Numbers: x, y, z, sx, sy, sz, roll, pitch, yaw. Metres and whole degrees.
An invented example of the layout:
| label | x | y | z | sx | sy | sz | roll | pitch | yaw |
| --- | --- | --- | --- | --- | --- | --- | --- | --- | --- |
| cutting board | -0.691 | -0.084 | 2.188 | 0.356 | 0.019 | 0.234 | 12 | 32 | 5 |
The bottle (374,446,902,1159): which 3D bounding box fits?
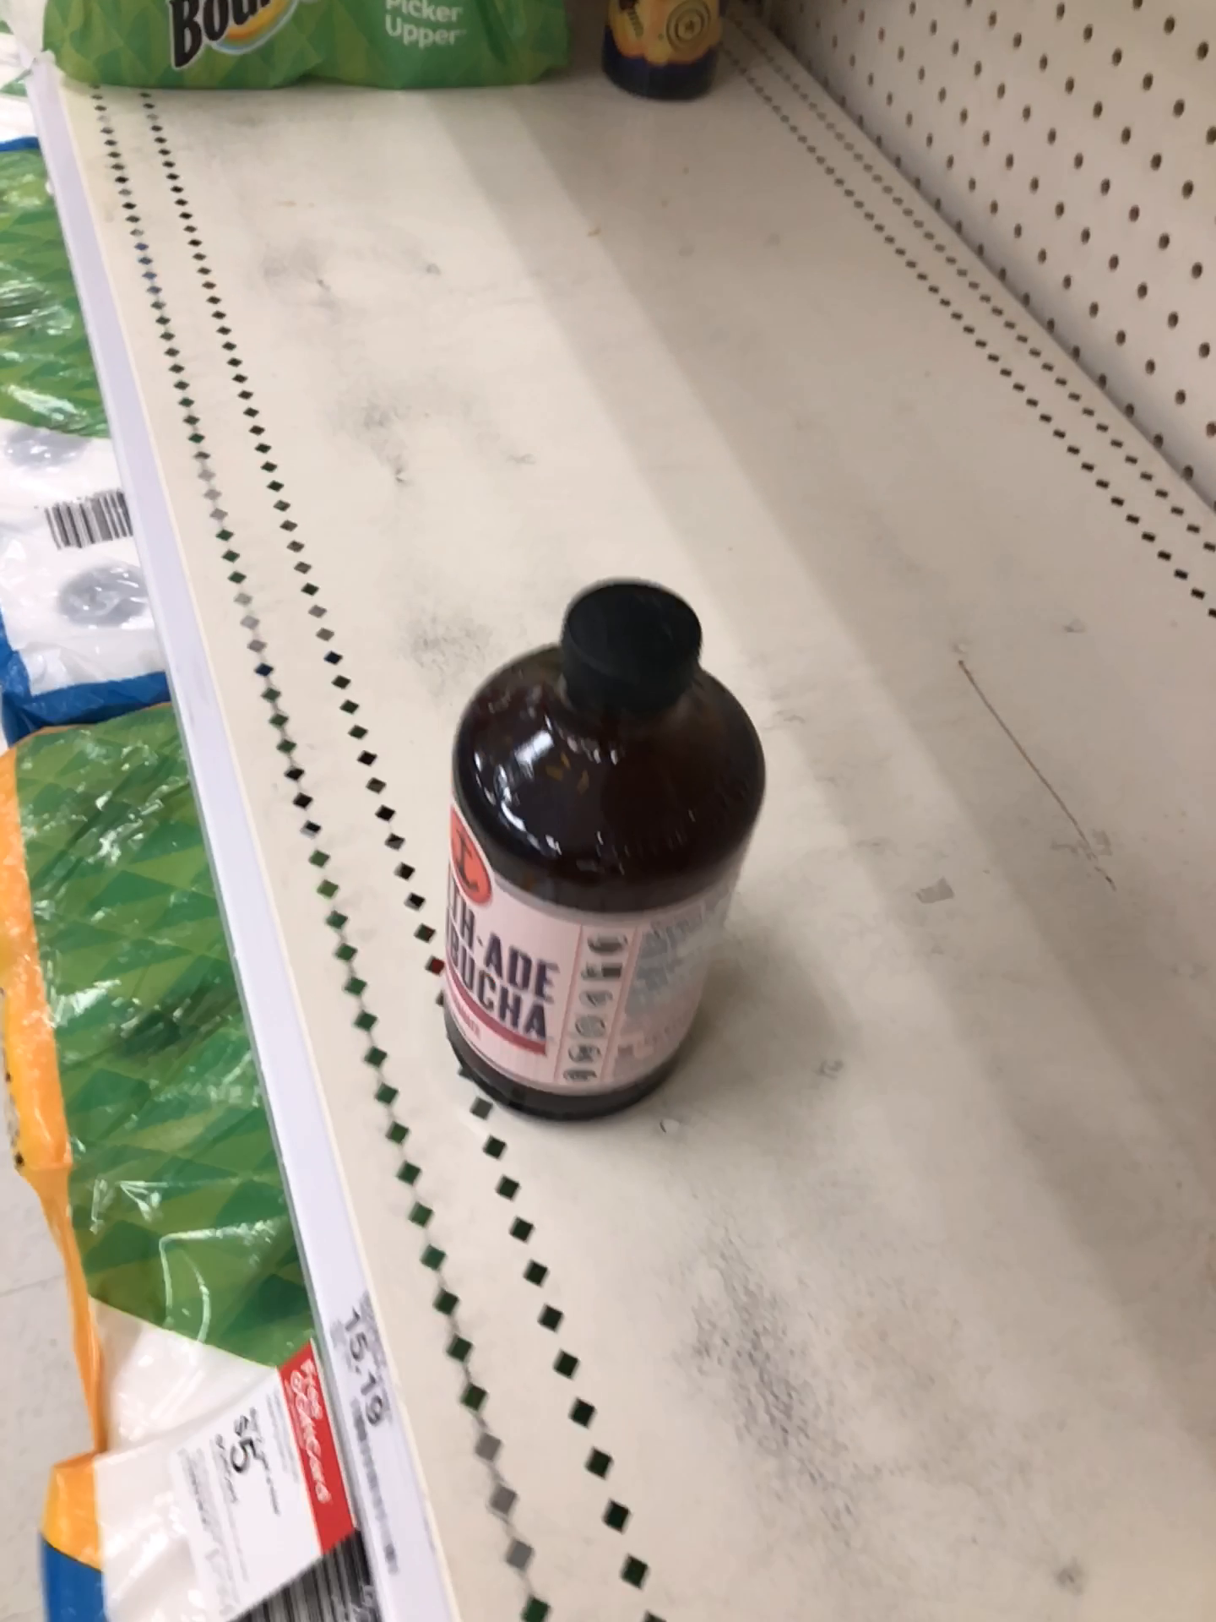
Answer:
| label | x | y | z | sx | sy | sz | roll | pitch | yaw |
| --- | --- | --- | --- | --- | --- | --- | --- | --- | --- |
| bottle | -0.002 | 0.005 | 0.363 | 0.089 | 0.169 | 0.087 | 3 | 52 | -4 |
